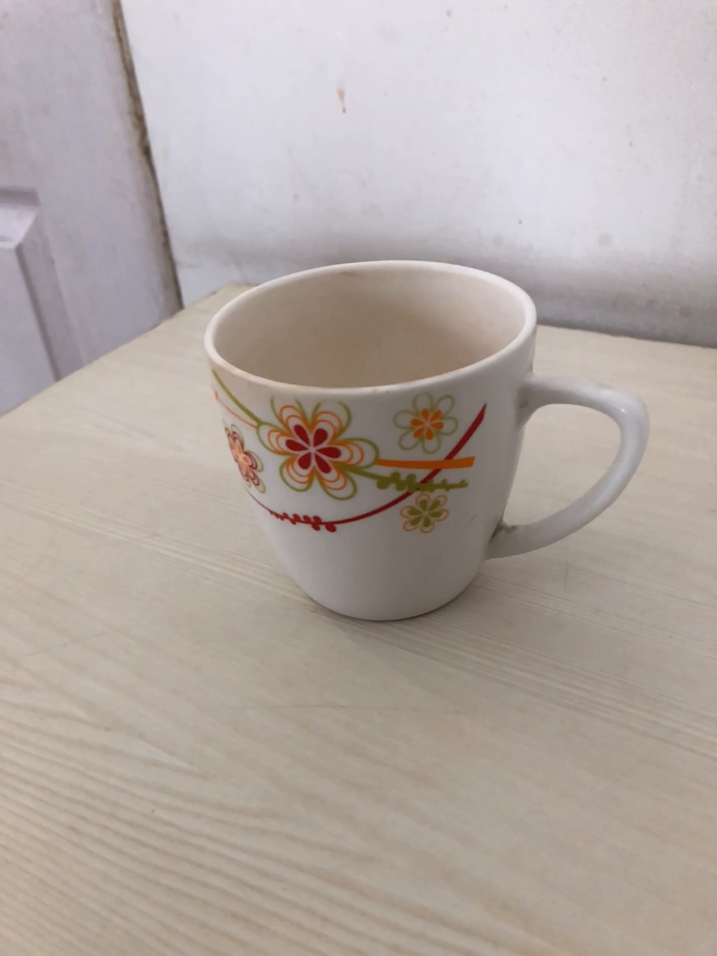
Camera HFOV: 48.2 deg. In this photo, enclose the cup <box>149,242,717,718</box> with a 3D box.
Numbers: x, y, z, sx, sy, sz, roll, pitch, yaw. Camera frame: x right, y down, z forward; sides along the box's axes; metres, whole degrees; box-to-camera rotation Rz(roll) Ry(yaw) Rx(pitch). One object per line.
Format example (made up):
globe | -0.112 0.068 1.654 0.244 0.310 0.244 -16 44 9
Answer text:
cup | 0.023 -0.008 0.192 0.110 0.070 0.070 11 36 23
